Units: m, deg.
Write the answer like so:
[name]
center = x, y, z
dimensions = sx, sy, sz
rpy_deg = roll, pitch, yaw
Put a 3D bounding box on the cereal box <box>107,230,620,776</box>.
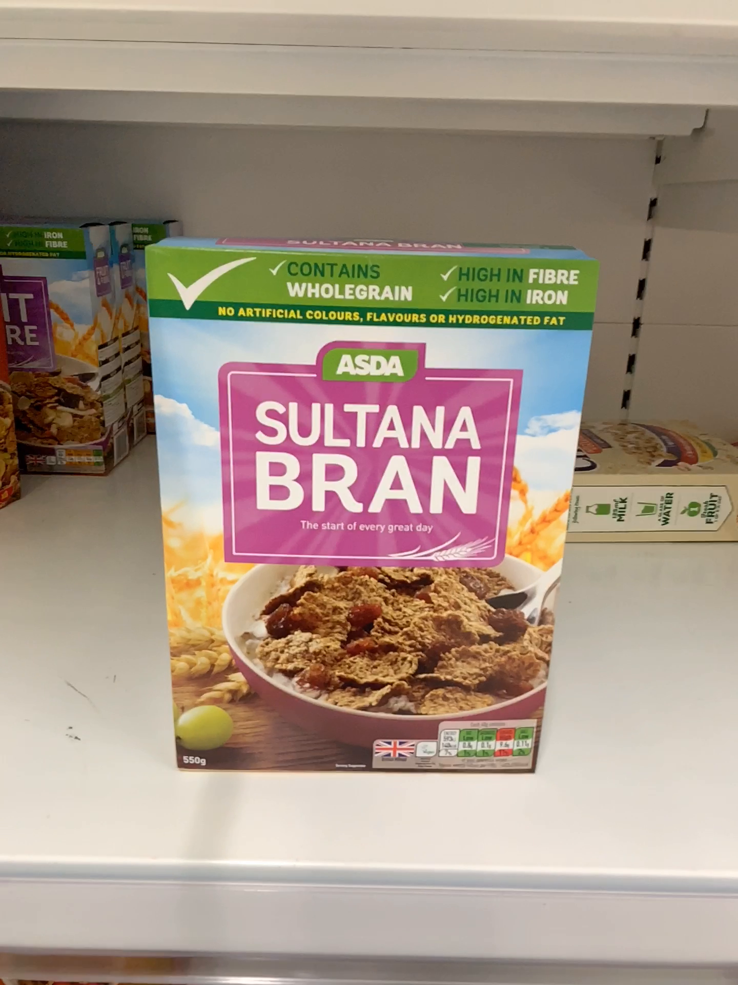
[cereal box]
center = -0.005, 0.011, 0.388
dimensions = 0.210, 0.268, 0.071
rpy_deg = 1, 20, -1
